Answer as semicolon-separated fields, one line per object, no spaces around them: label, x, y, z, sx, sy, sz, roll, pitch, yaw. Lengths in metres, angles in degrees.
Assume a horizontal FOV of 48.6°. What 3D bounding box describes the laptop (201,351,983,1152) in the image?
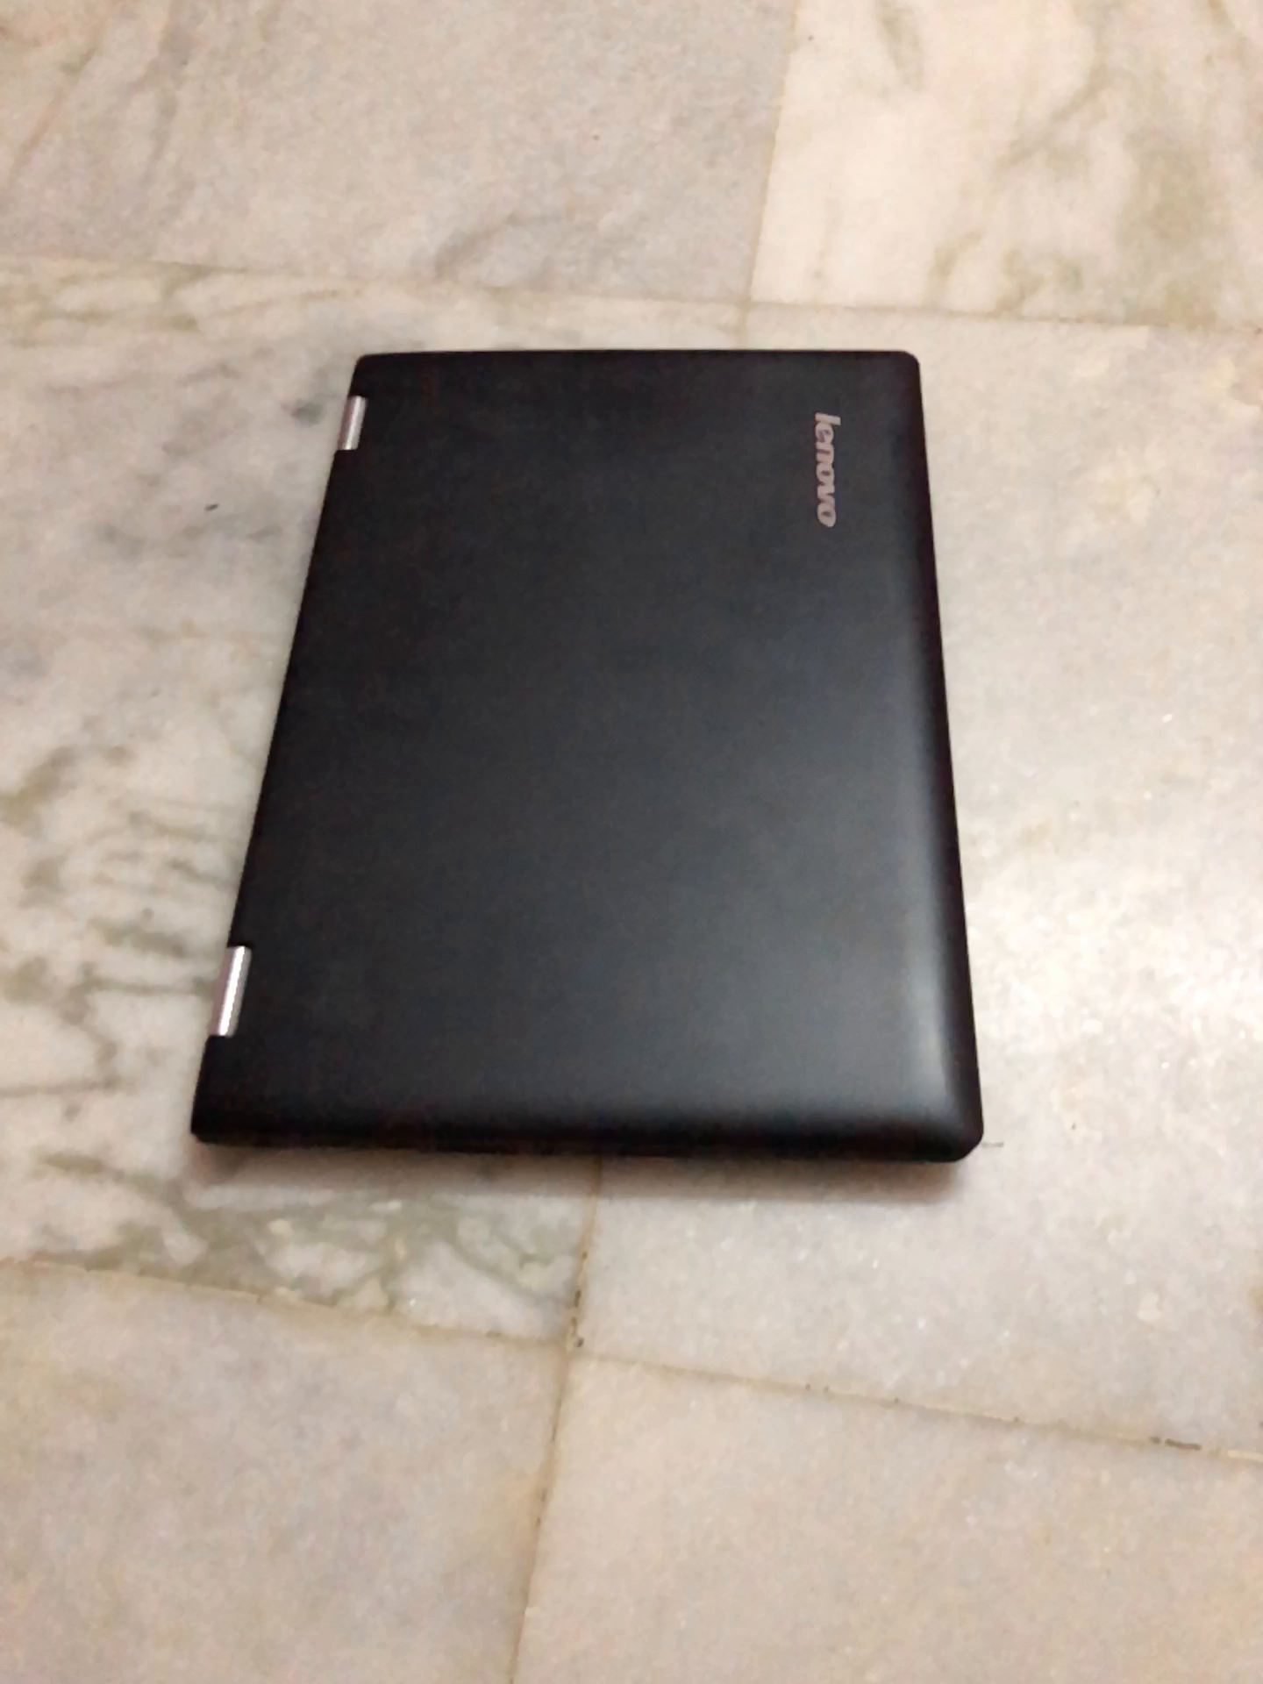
laptop;-0.005;-0.056;0.482;0.222;0.002;0.330;1;59;3
